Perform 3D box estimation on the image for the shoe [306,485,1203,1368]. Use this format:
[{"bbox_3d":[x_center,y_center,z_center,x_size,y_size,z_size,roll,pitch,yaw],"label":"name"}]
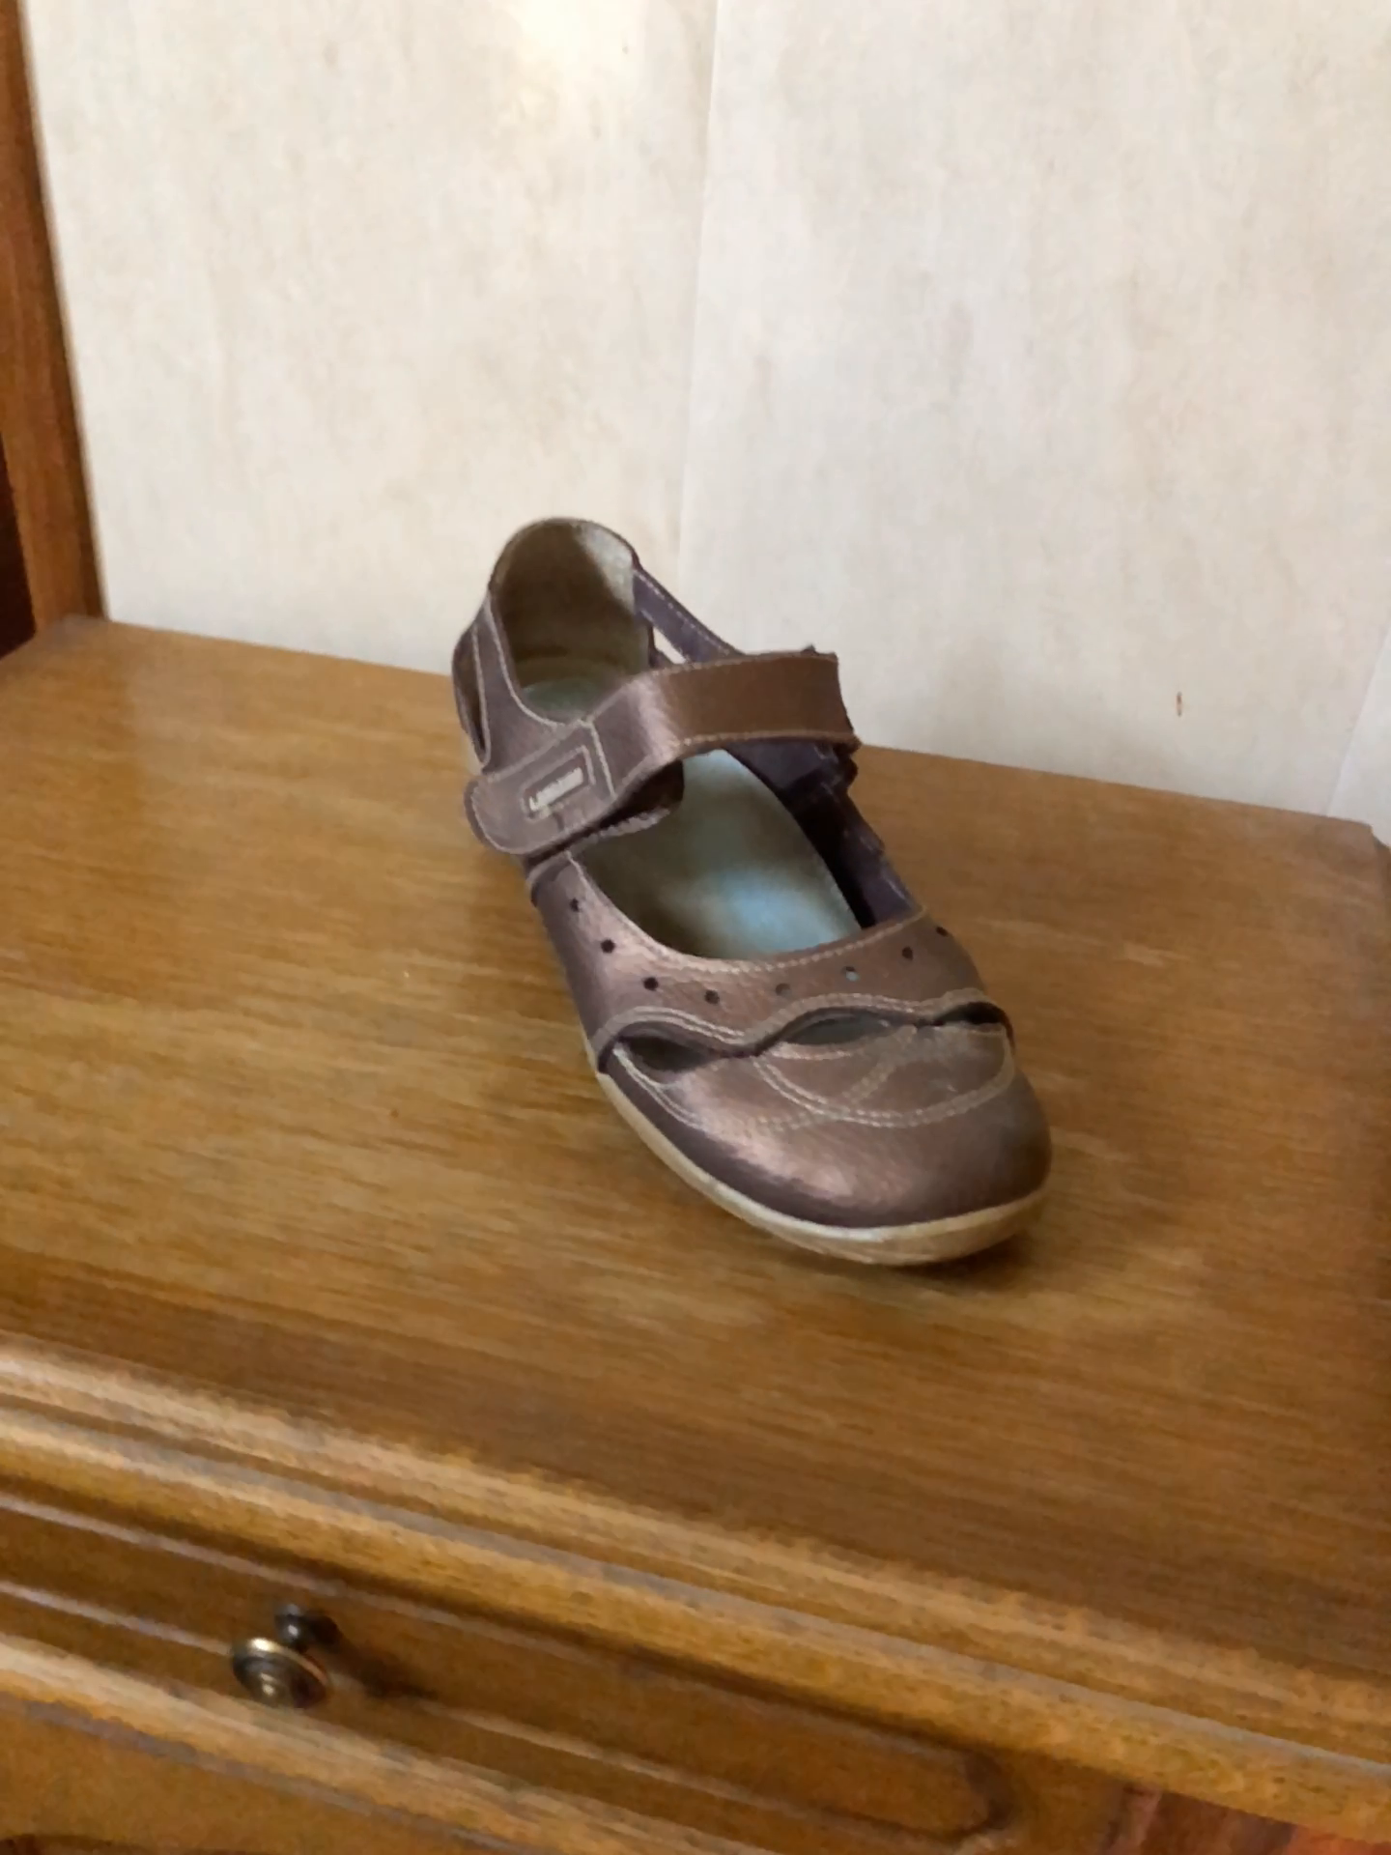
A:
[{"bbox_3d":[-0.009,-0.026,0.401,0.100,0.089,0.261,-14,38,-26],"label":"shoe"}]
